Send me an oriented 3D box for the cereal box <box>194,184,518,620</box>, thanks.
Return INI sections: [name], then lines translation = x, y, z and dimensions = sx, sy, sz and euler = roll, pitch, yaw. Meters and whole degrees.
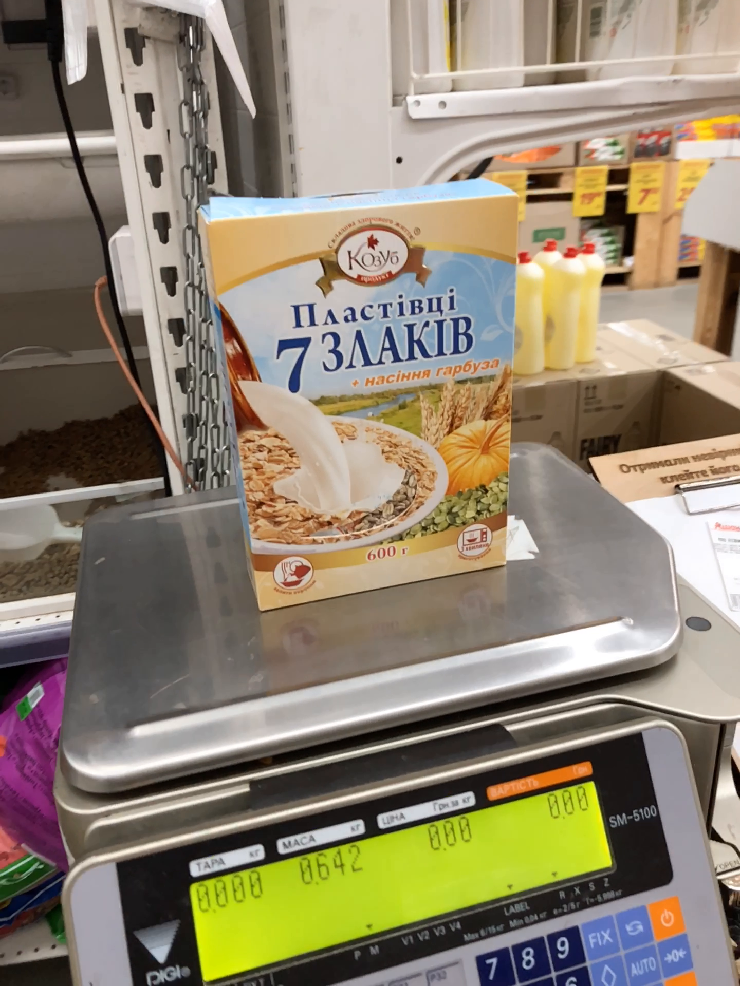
[cereal box]
translation = -0.005, -0.051, 0.476
dimensions = 0.160, 0.228, 0.060
euler = -8, 27, -12
